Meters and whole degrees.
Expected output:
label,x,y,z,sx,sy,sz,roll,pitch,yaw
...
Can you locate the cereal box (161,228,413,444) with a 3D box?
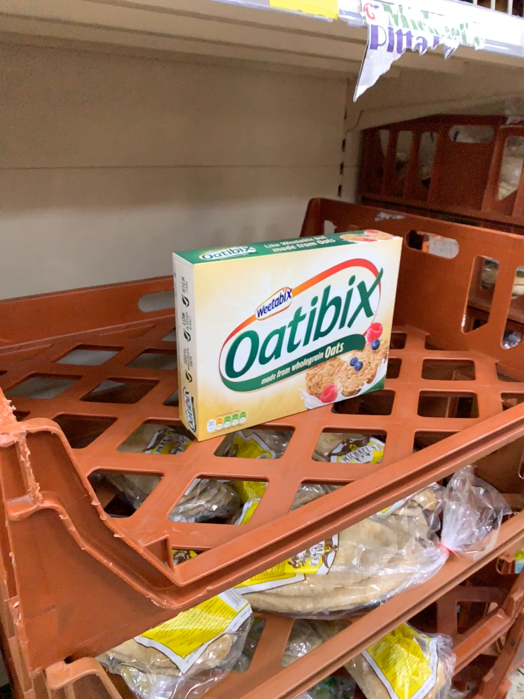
label,x,y,z,sx,sy,sz,roll,pitch,yaw
cereal box,0.032,-0.026,0.585,0.261,0.179,0.070,-12,25,-29
